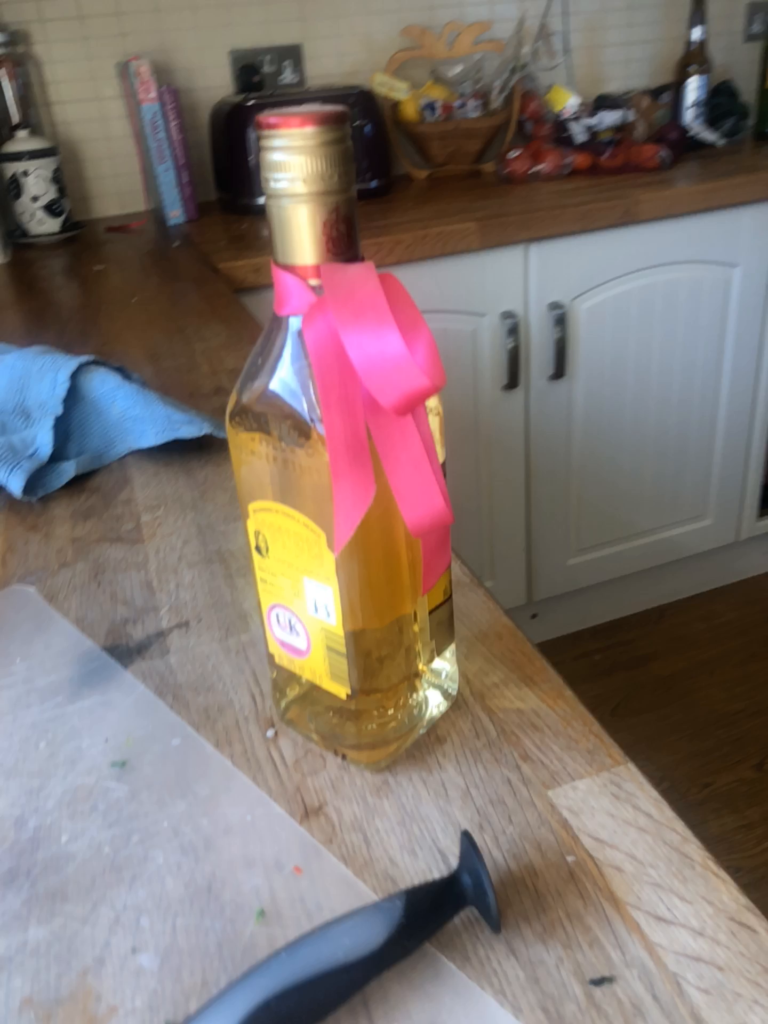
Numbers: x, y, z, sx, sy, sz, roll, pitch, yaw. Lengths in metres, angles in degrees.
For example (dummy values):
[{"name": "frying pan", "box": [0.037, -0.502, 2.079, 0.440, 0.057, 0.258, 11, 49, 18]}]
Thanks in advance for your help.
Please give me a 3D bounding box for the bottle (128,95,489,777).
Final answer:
[{"name": "bottle", "box": [-0.017, -0.024, 0.316, 0.080, 0.228, 0.070, 16, 35, 35]}]
